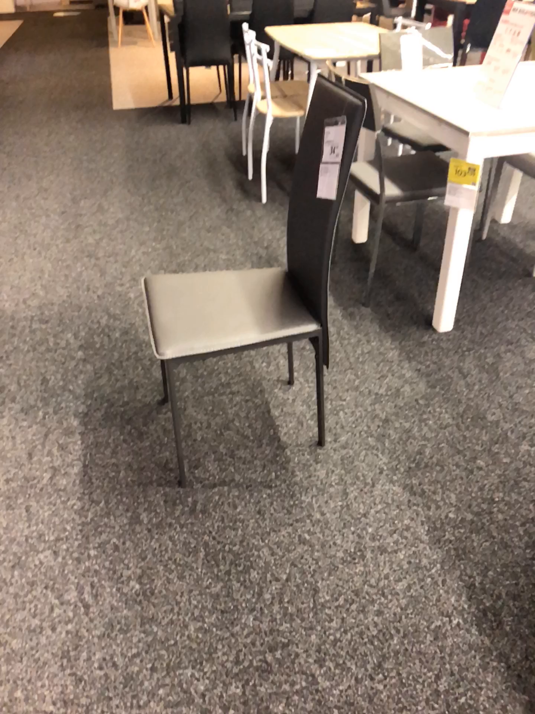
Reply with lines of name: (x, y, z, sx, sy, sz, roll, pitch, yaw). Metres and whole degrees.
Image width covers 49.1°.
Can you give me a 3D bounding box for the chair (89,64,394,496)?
chair: (-0.081, -0.187, 1.514, 0.561, 0.934, 0.472, -8, 36, -11)
